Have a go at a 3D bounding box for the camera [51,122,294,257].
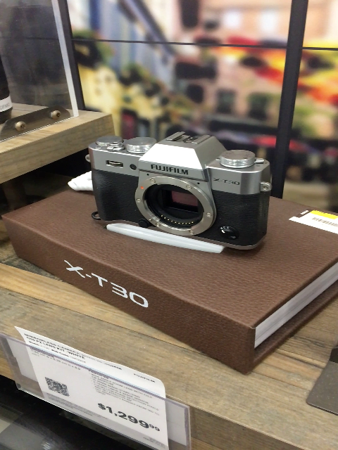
[{"bbox_3d":[0.003,-0.031,0.317,0.137,0.056,0.070,14,37,24],"label":"camera"}]
